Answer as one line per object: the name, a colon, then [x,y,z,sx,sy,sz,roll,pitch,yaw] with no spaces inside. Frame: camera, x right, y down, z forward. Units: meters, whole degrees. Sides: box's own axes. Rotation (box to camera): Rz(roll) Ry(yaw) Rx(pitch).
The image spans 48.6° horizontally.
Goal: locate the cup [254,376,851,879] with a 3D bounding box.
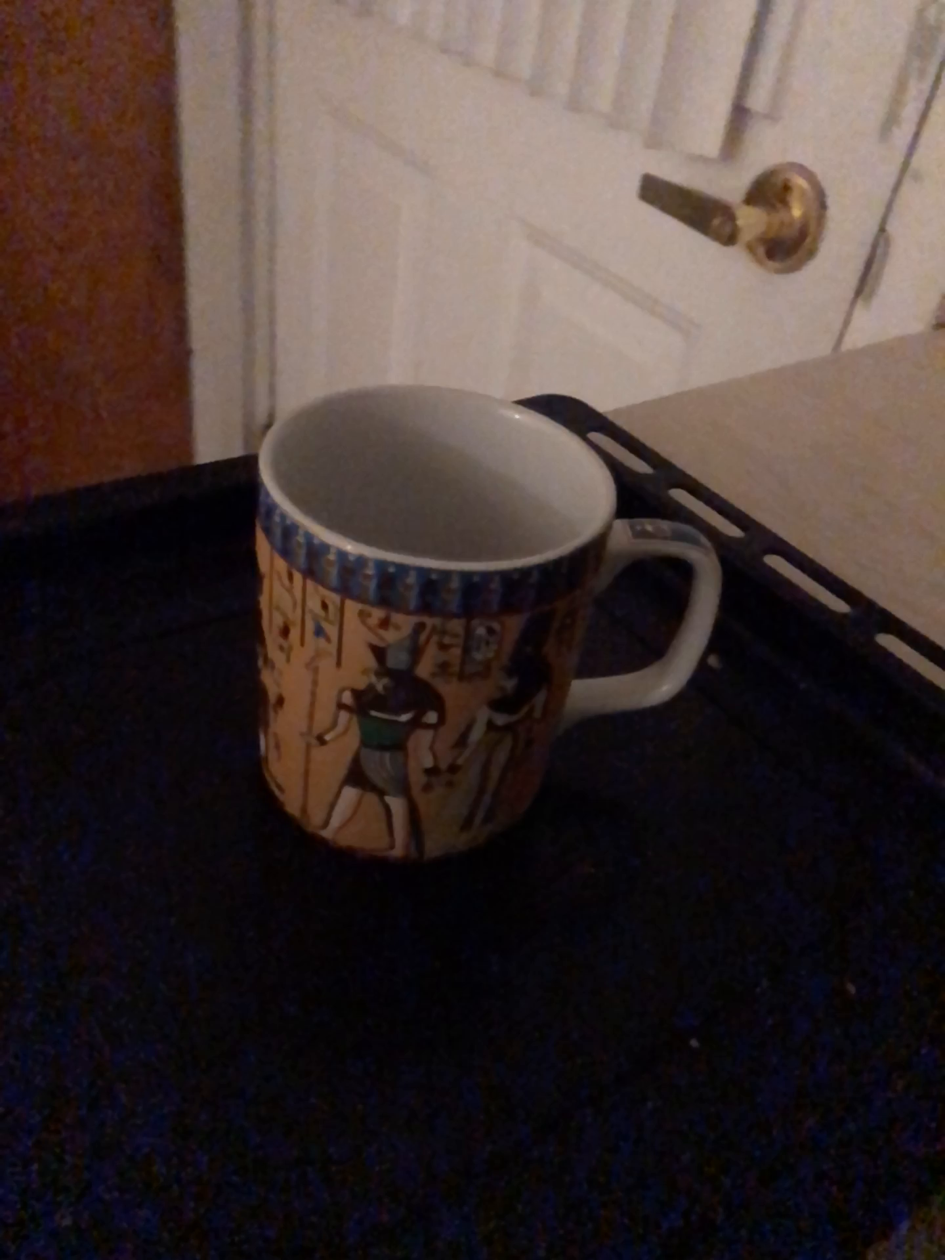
cup: [0.008,-0.003,0.265,0.120,0.089,0.081,-2,40,-14]
